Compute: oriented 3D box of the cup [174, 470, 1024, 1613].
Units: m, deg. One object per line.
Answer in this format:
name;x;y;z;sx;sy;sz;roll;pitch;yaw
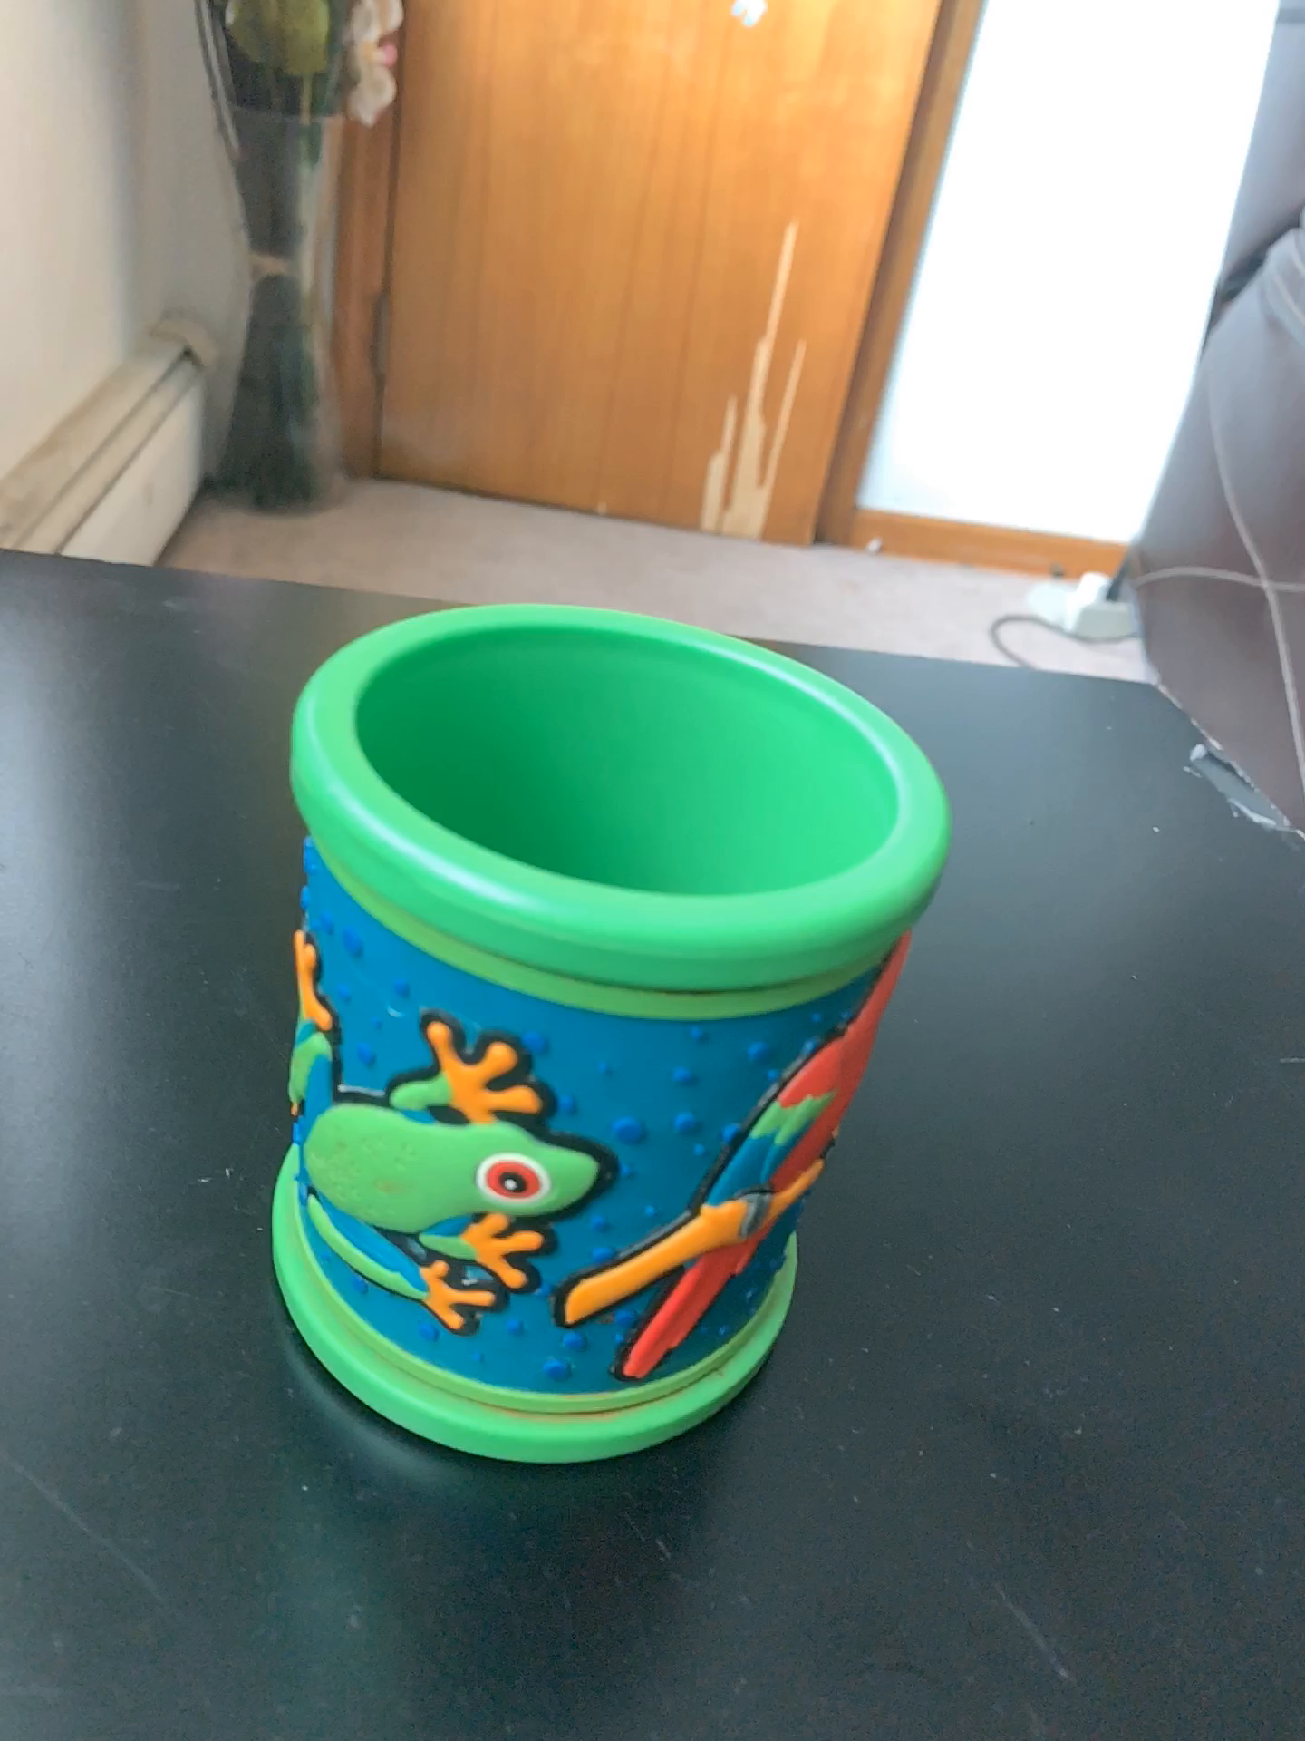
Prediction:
cup;-0.004;0.014;0.201;0.080;0.099;0.121;13;32;2
